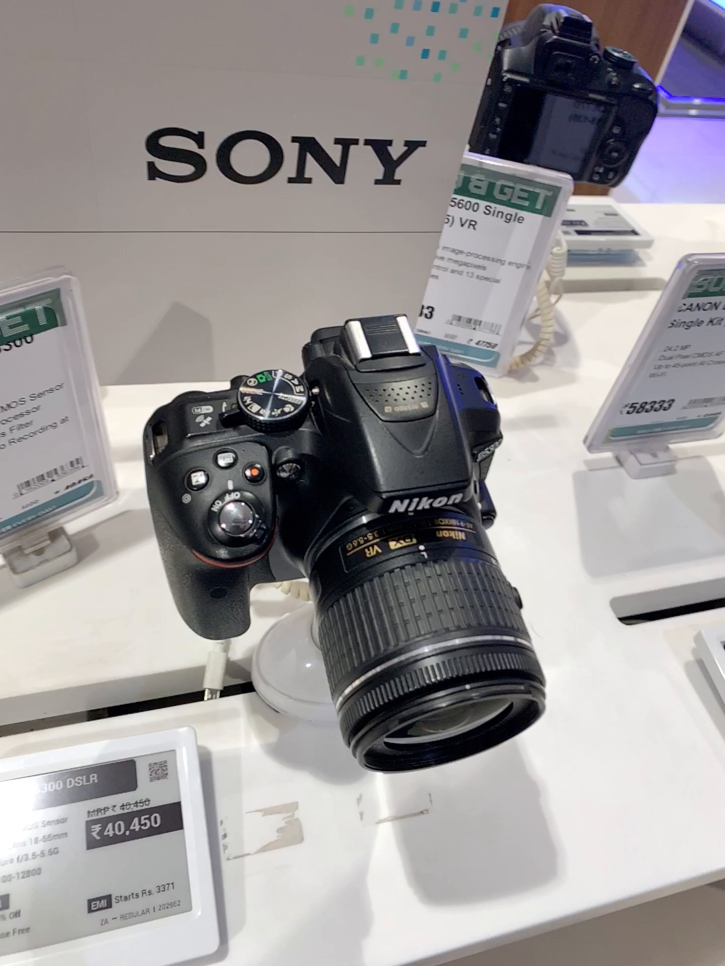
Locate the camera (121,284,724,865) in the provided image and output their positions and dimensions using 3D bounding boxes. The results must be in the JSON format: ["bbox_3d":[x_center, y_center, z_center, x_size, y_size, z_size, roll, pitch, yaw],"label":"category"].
[{"bbox_3d":[0.008,0.014,0.217,0.130,0.070,0.130,-9,51,-18],"label":"camera"}]
